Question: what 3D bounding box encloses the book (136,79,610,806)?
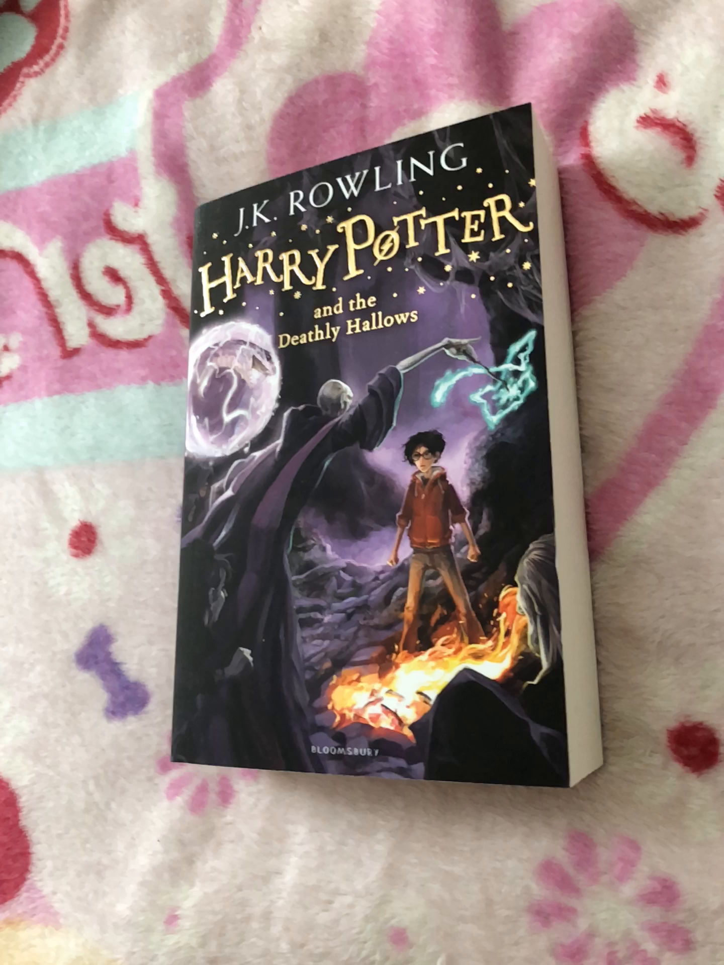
[{"bbox_3d":[0.002,-0.007,0.256,0.126,0.060,0.187,-6,77,27],"label":"book"}]
